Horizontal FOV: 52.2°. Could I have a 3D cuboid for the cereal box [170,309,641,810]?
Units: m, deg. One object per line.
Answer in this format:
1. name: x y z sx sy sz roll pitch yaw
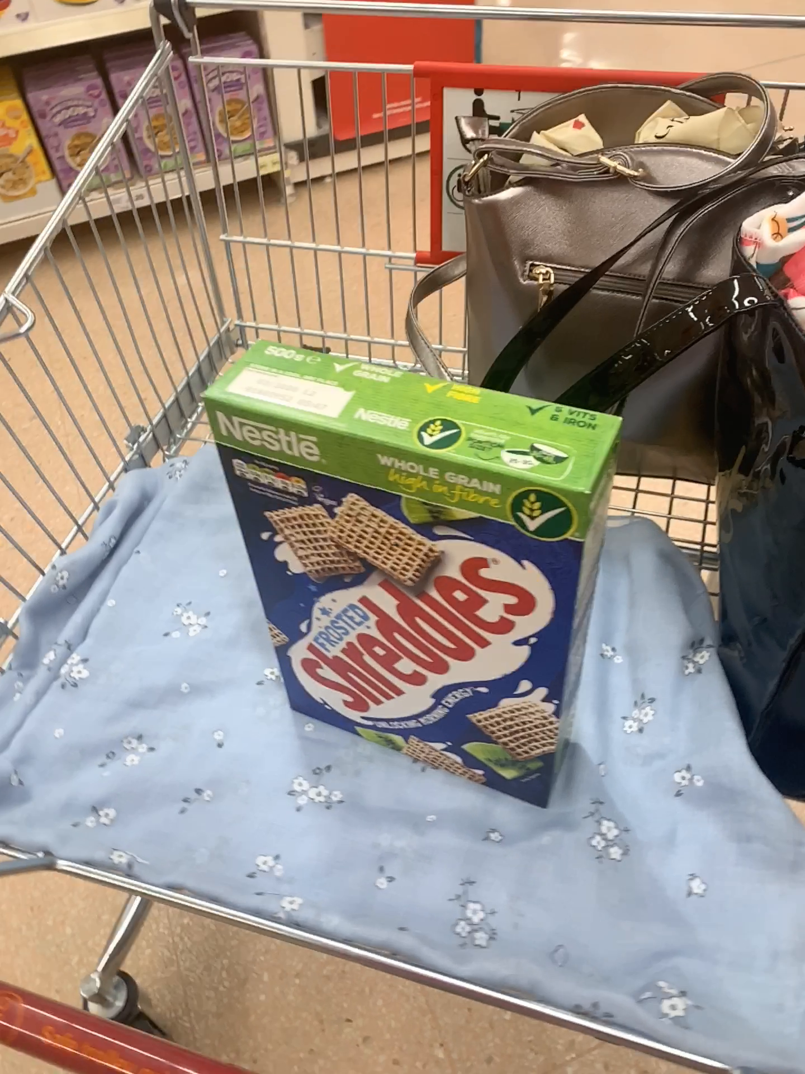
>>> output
1. cereal box: 0.005 0.031 0.468 0.200 0.287 0.060 16 51 18
